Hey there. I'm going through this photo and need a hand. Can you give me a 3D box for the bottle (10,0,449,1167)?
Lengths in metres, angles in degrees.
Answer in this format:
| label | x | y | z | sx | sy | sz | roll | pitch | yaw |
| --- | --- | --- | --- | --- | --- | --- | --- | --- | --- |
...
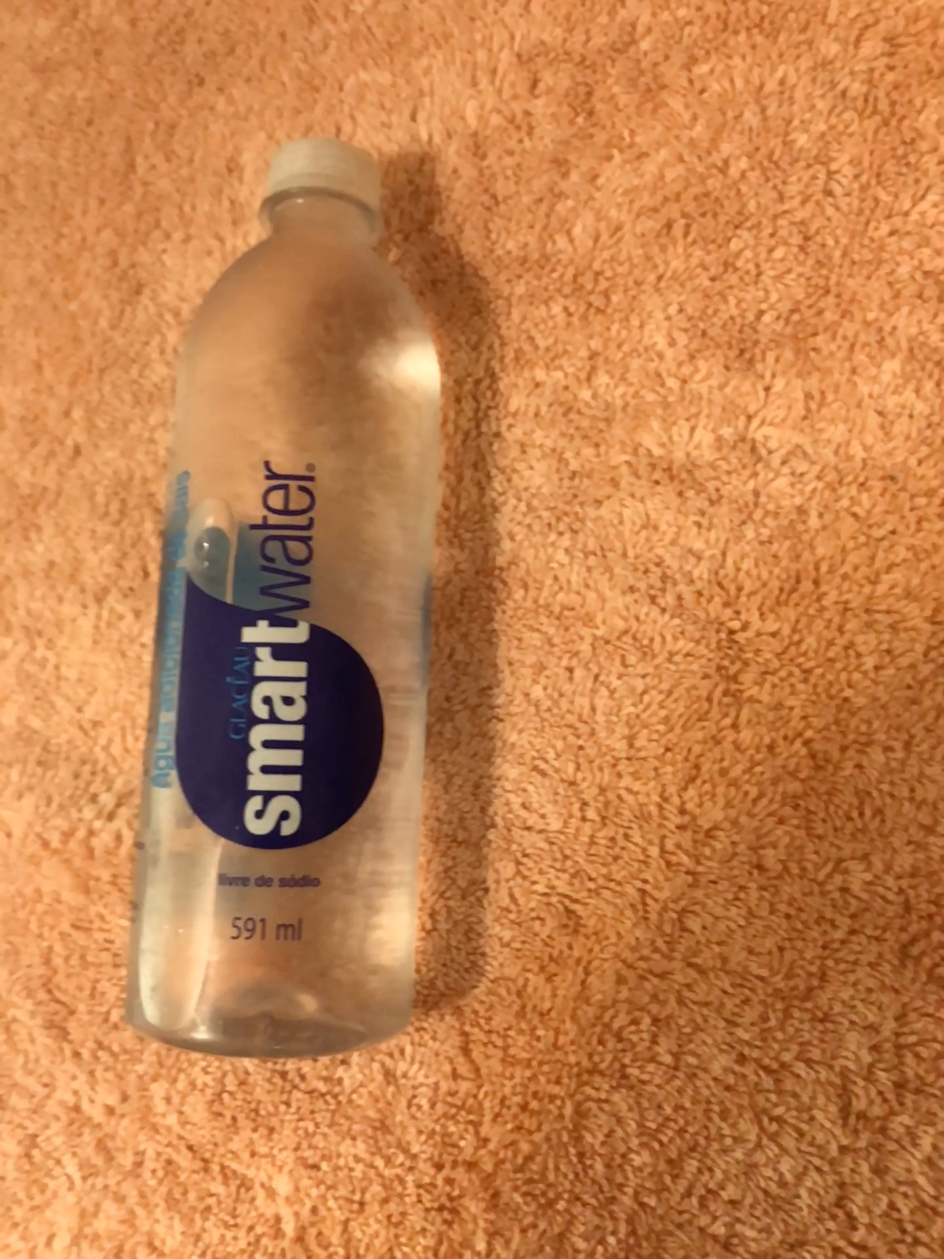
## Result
| label | x | y | z | sx | sy | sz | roll | pitch | yaw |
| --- | --- | --- | --- | --- | --- | --- | --- | --- | --- |
| bottle | -0.053 | -0.012 | 0.245 | 0.080 | 0.050 | 0.230 | -3 | 83 | 24 |
